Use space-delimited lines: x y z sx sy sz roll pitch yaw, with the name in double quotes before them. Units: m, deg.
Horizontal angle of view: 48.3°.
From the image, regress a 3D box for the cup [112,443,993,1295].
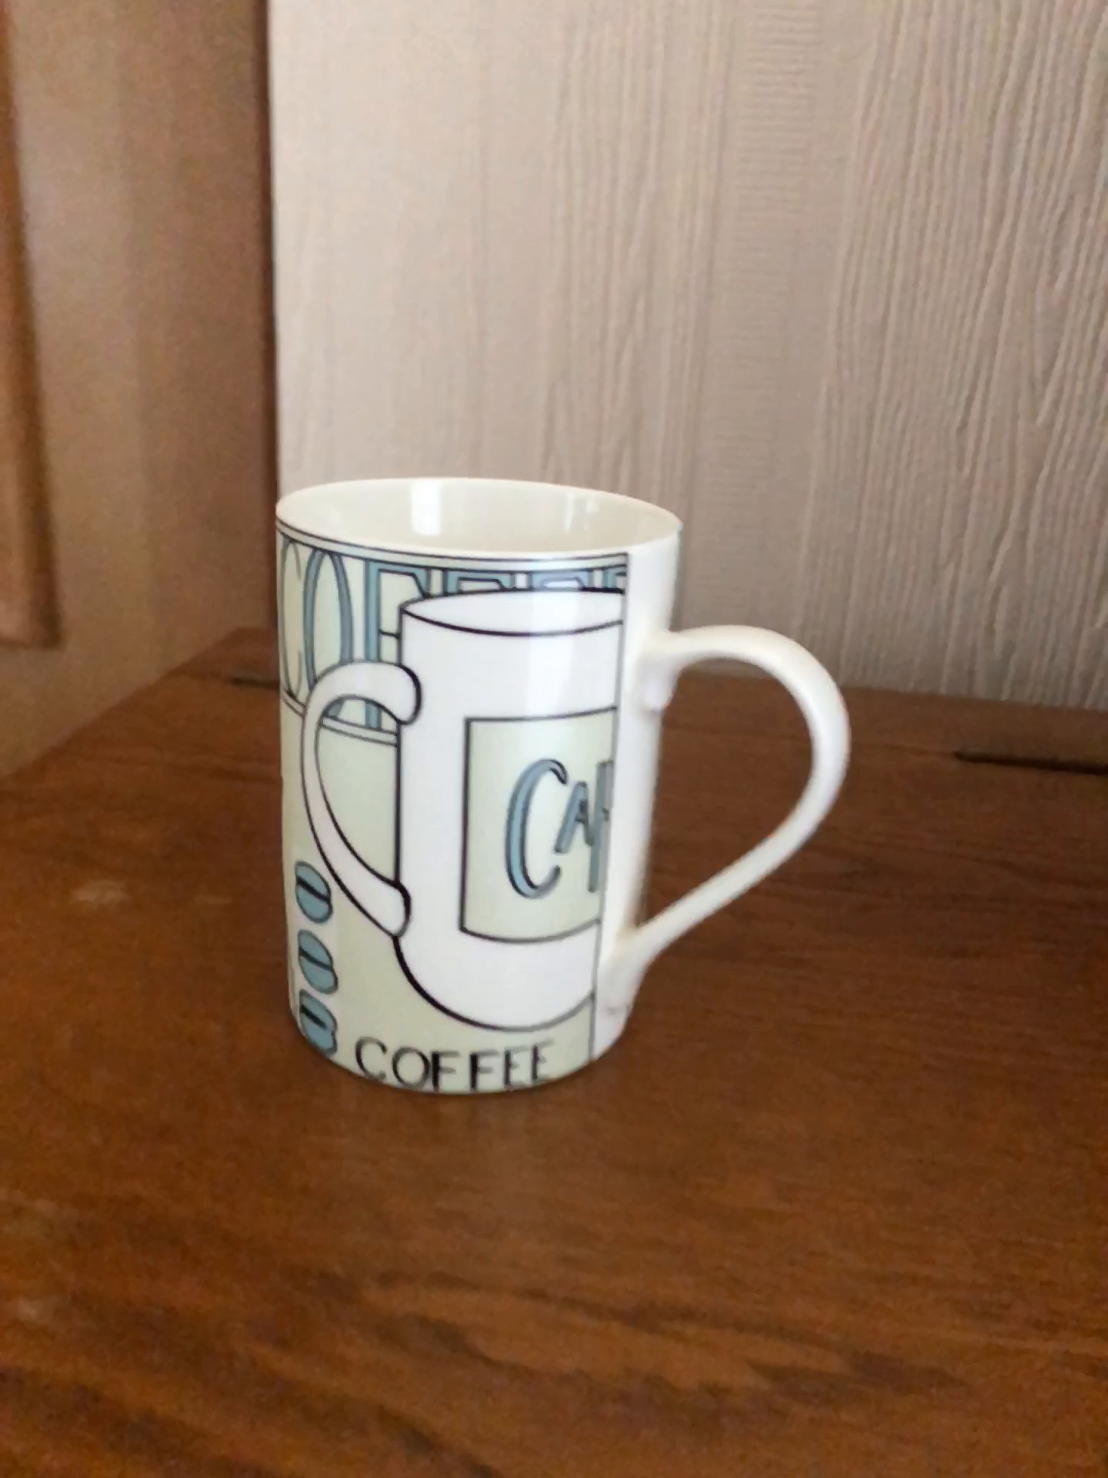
"cup" 0.001 0.009 0.217 0.120 0.100 0.080 12 22 23
